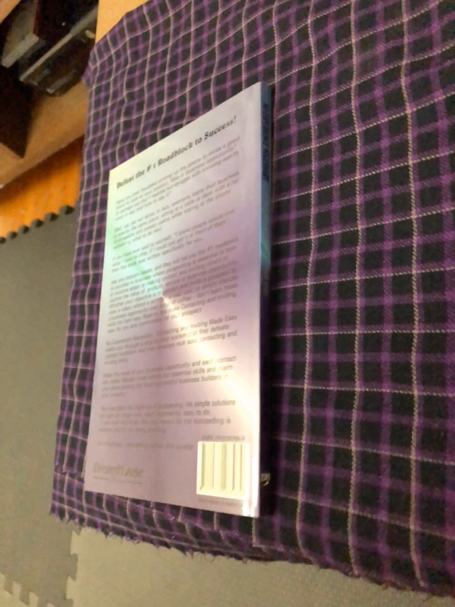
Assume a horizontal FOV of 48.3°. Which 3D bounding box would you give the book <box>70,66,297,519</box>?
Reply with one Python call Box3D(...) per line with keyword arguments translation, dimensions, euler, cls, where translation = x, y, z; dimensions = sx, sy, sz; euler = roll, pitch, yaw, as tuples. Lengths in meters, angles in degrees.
Box3D(translation=(-0.033, -0.002, 0.298), dimensions=(0.161, 0.020, 0.220), euler=(-13, 70, 42), cls="book")
